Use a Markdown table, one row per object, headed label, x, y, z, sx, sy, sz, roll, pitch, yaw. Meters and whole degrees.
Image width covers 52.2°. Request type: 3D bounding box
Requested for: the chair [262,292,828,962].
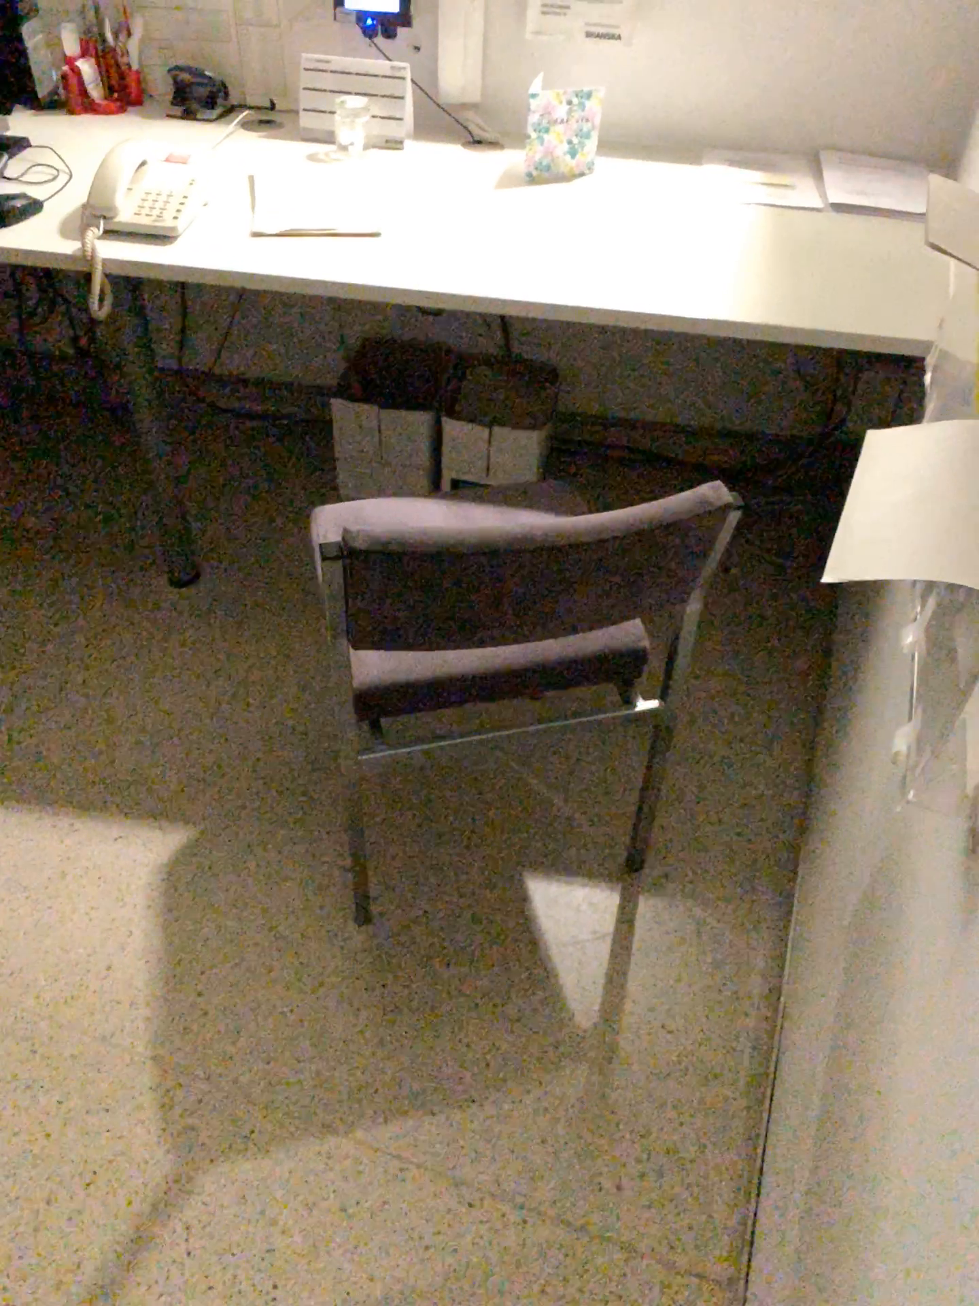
| label | x | y | z | sx | sy | sz | roll | pitch | yaw |
| --- | --- | --- | --- | --- | --- | --- | --- | --- | --- |
| chair | 0.008 | -0.042 | 1.402 | 0.540 | 0.693 | 0.545 | -7 | 43 | -12 |
